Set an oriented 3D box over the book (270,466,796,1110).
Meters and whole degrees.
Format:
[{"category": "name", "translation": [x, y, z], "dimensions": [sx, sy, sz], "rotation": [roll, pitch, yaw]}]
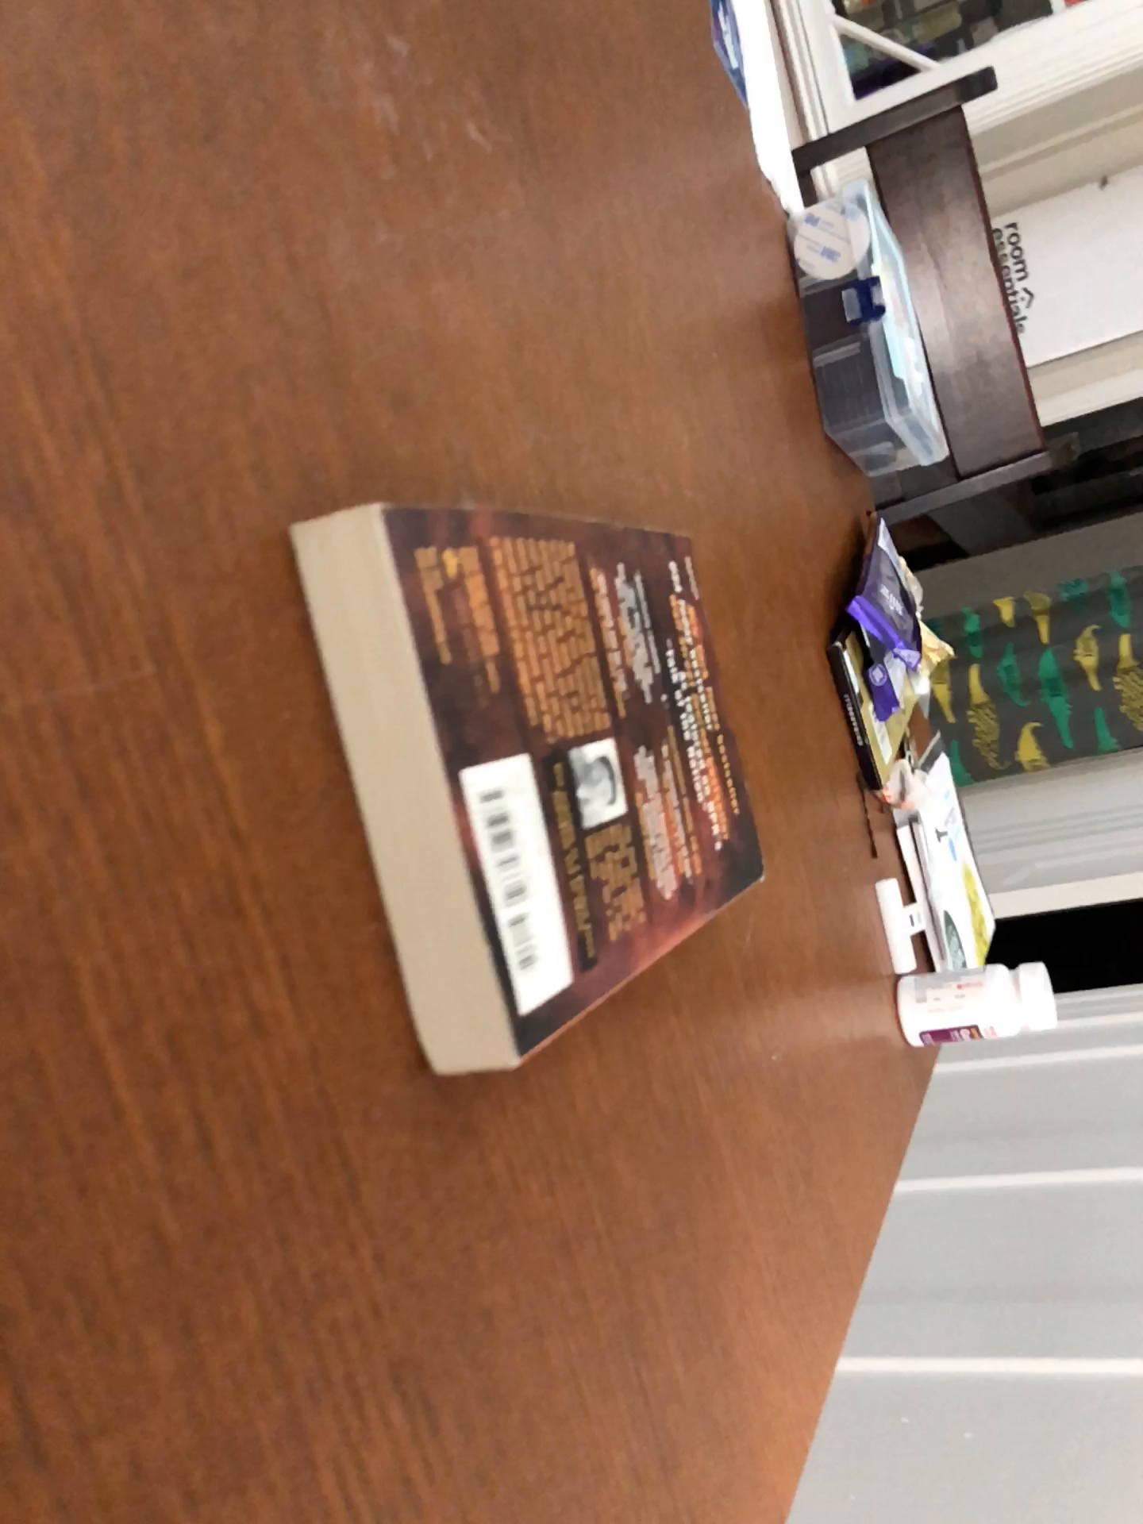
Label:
[{"category": "book", "translation": [0.008, -0.004, 0.376], "dimensions": [0.221, 0.030, 0.140], "rotation": [-14, 91, -64]}]
